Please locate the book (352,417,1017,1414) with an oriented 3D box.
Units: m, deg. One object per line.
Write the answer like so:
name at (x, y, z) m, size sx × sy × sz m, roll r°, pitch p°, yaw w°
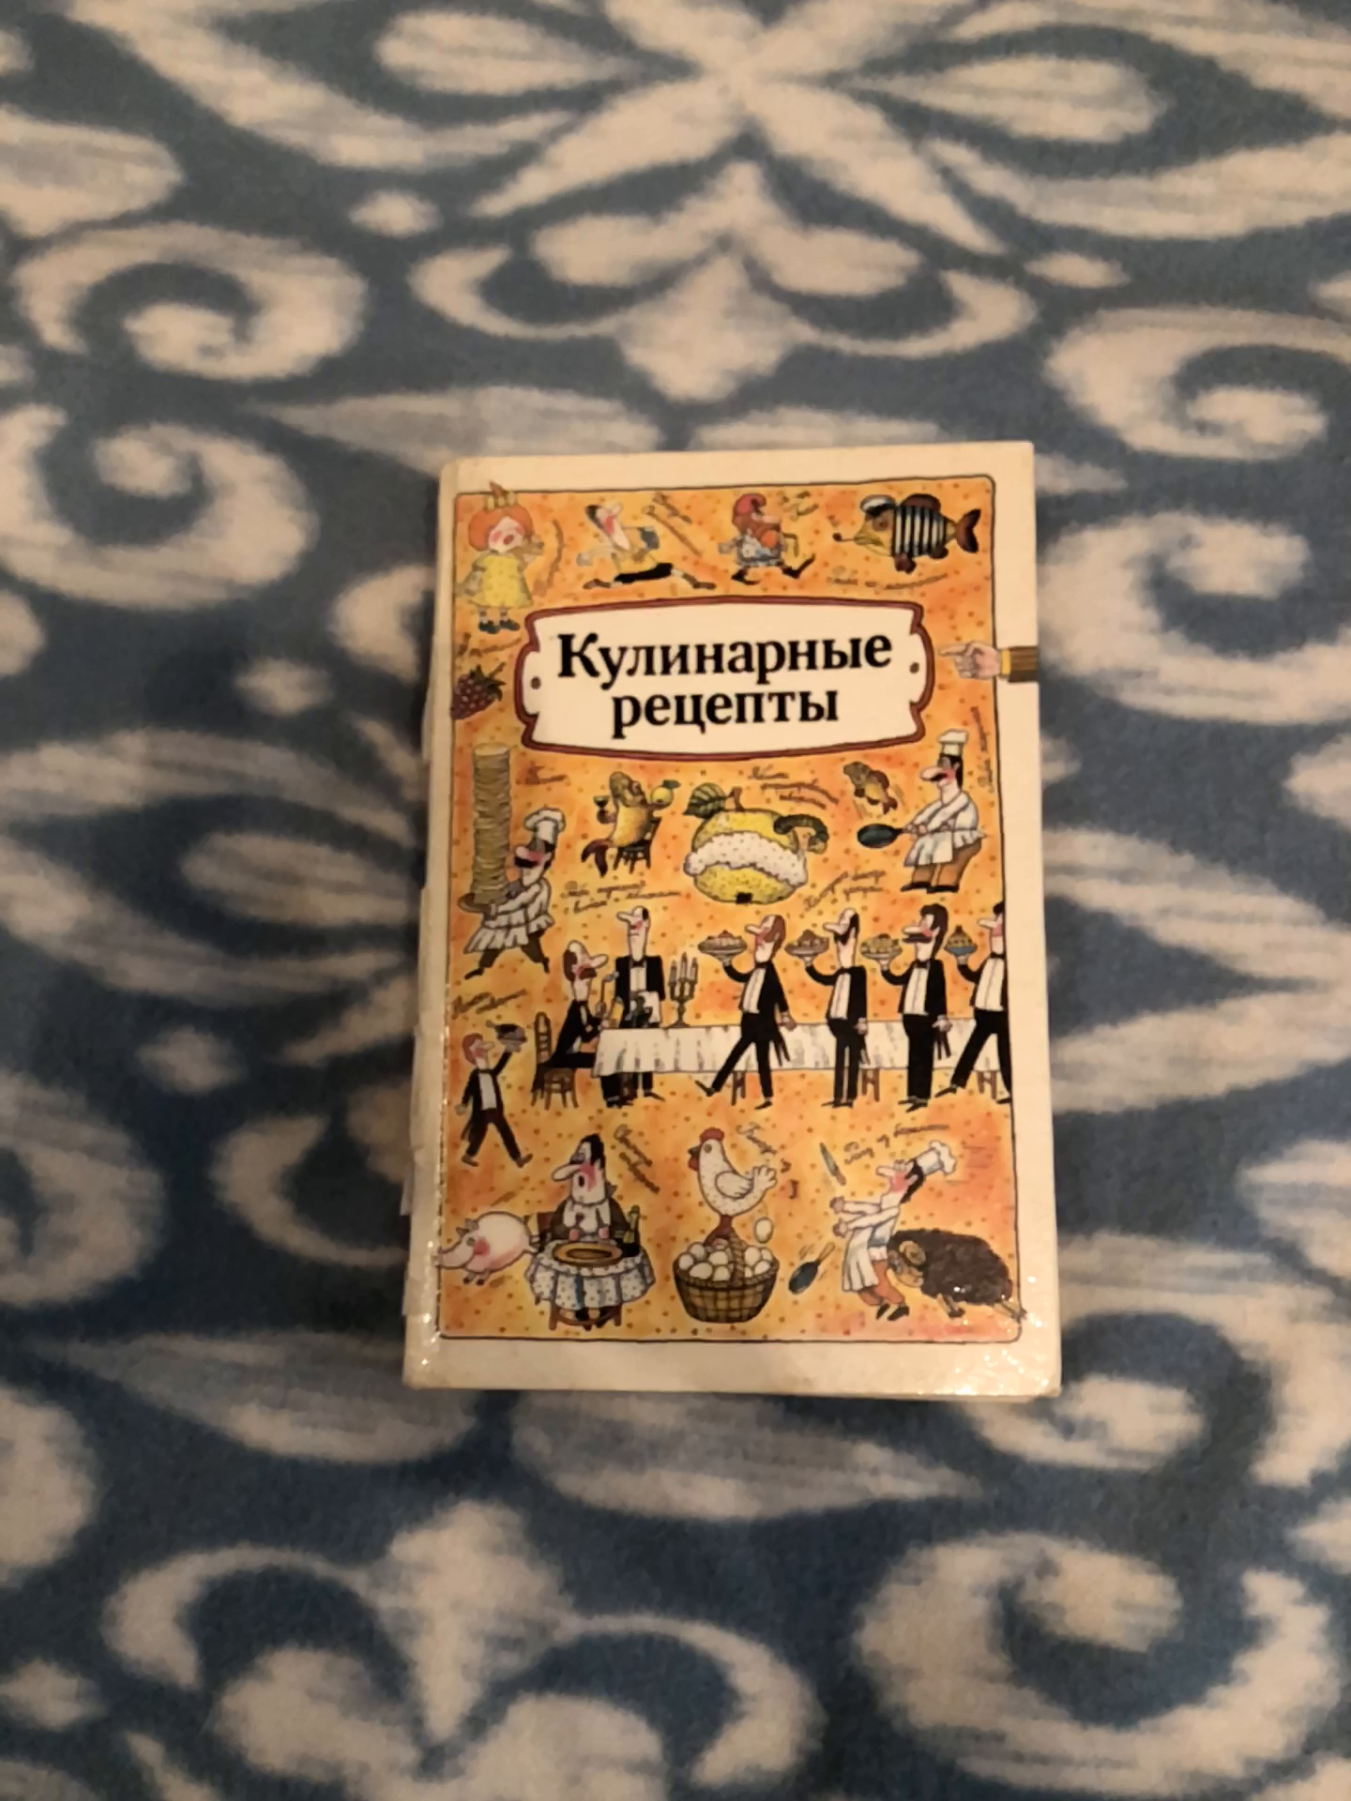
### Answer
book at (0.002, 0.001, 0.351) m, size 0.141 × 0.032 × 0.220 m, roll -1°, pitch 82°, yaw 5°
